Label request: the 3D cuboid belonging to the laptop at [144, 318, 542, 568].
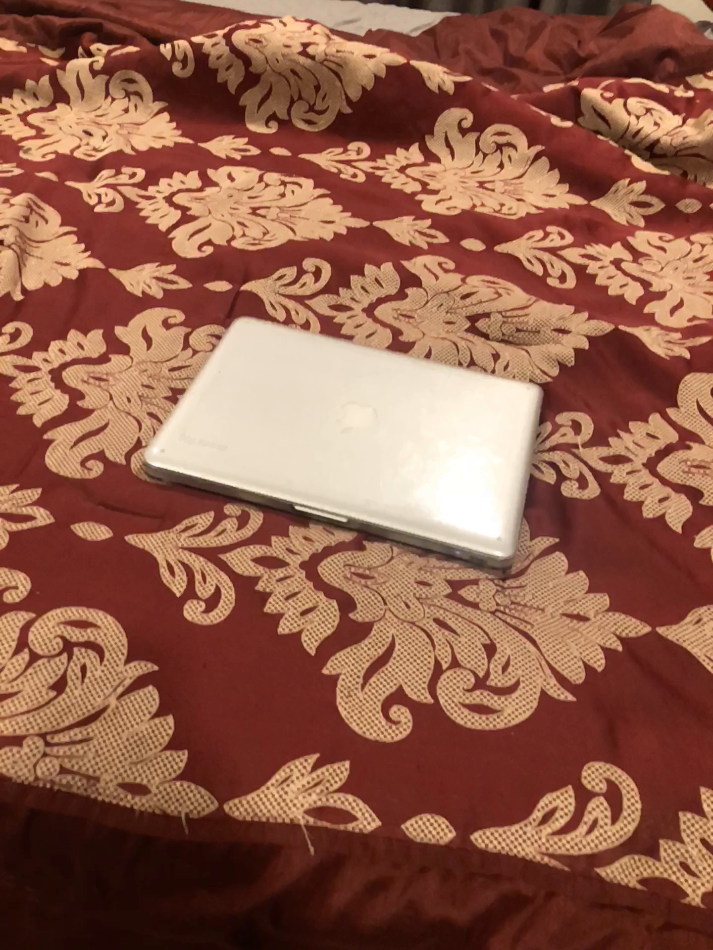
[{"bbox_3d":[-0.001,-0.042,0.688,0.304,0.015,0.208,14,47,9],"label":"laptop"}]
